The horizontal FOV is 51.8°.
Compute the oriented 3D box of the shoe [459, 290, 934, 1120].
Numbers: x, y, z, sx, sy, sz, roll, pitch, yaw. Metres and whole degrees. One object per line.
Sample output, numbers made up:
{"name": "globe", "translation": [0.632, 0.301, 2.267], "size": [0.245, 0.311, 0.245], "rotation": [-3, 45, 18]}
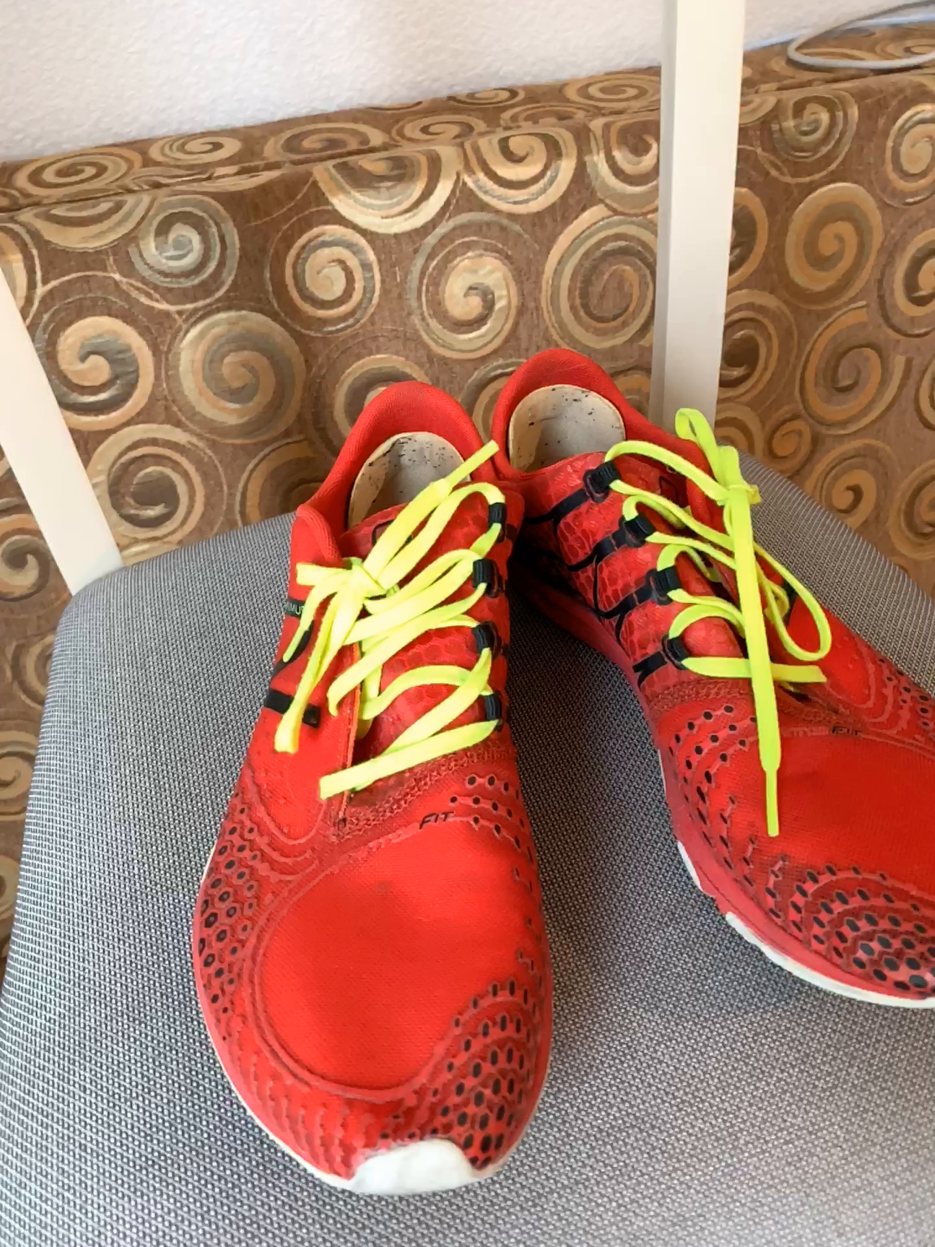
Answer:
{"name": "shoe", "translation": [0.099, 0.001, 0.327], "size": [0.110, 0.090, 0.261], "rotation": [-19, 50, -14]}

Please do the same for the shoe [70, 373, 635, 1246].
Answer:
{"name": "shoe", "translation": [-0.026, 0.036, 0.308], "size": [0.110, 0.090, 0.261], "rotation": [-3, 48, 0]}
